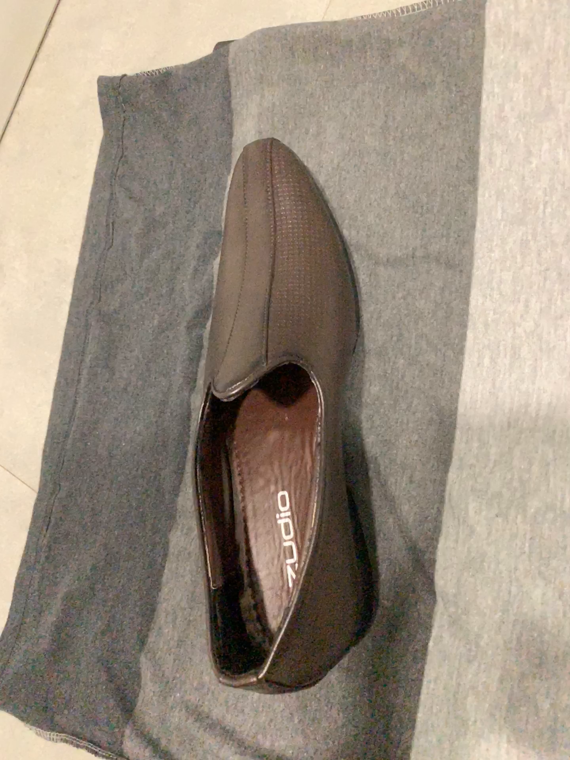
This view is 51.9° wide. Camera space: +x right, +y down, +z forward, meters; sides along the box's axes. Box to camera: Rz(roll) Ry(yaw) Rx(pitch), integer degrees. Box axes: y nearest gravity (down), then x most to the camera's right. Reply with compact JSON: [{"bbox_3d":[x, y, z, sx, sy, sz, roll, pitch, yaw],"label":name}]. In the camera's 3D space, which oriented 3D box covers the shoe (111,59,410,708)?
[{"bbox_3d":[-0.015,0.001,0.301,0.100,0.100,0.270,-11,75,25],"label":"shoe"}]
